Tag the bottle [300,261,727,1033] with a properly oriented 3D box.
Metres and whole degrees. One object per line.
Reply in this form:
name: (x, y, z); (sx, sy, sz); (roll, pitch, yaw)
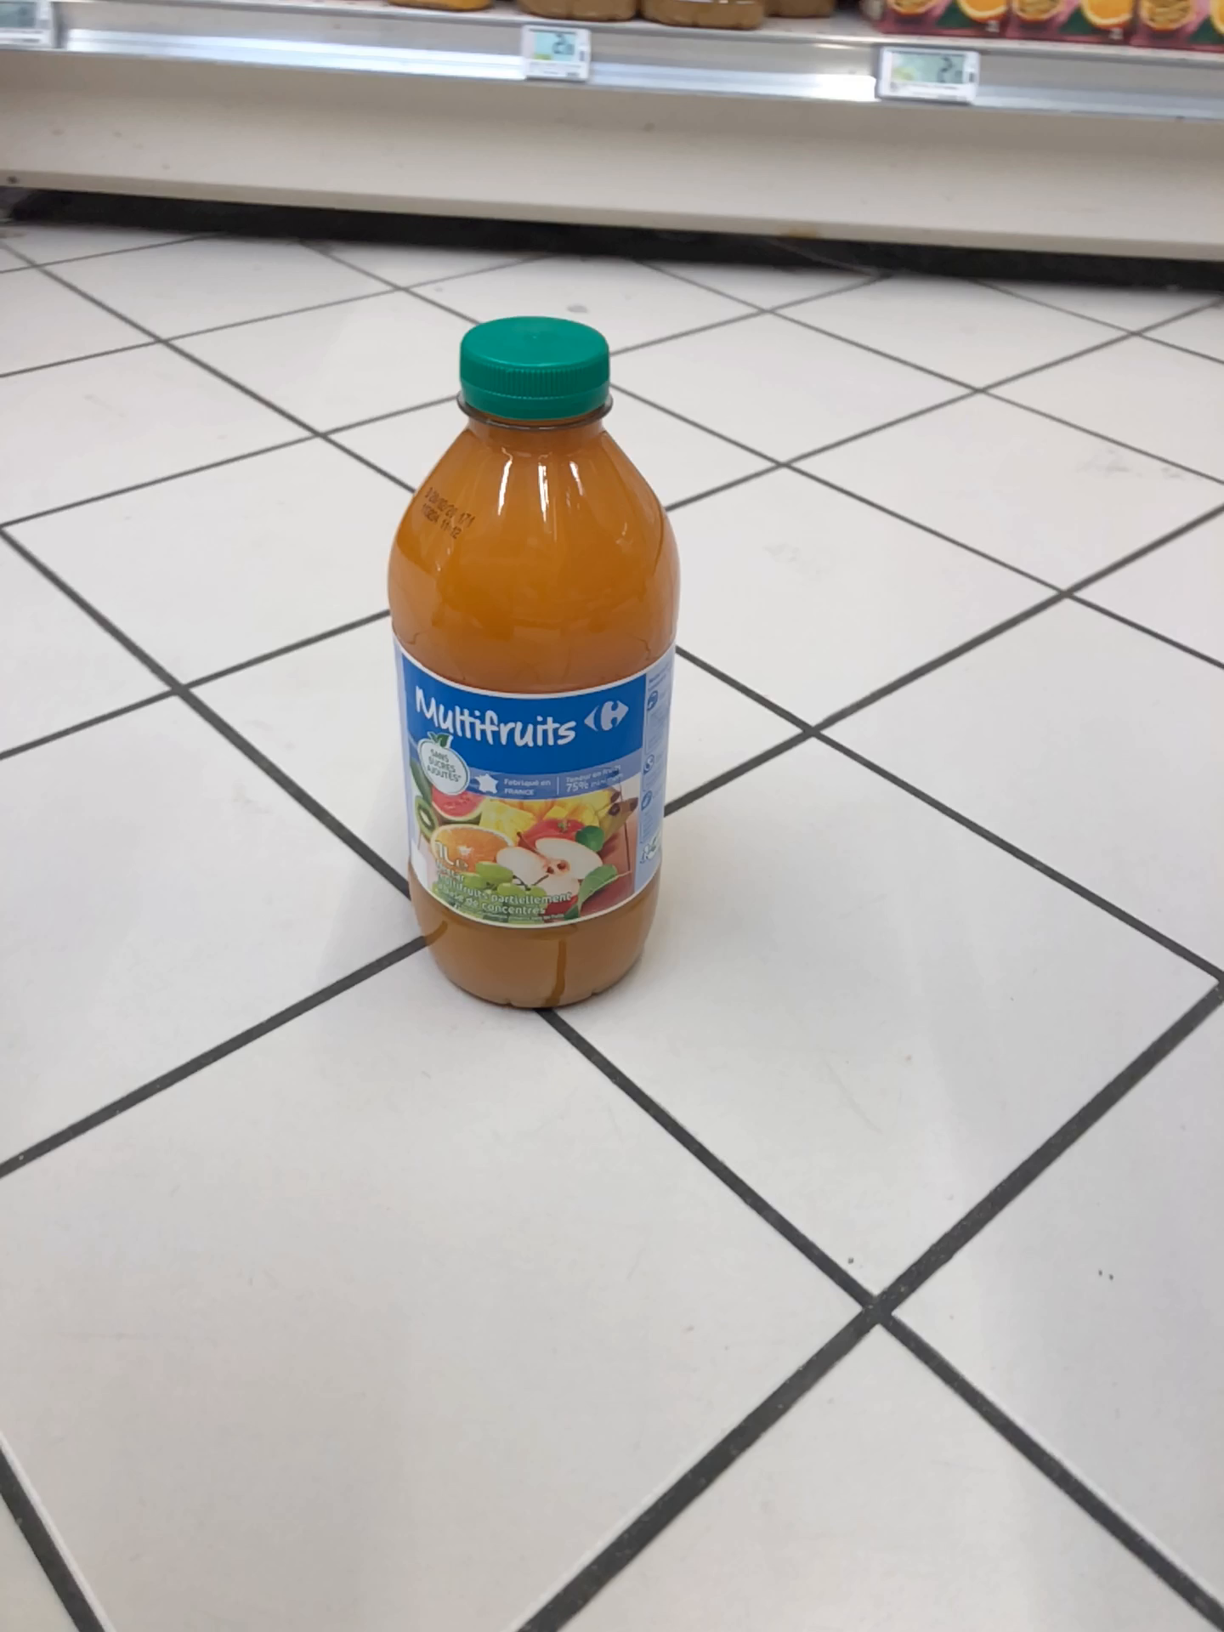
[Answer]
bottle: (-0.025, -0.046, 0.420); (0.100, 0.209, 0.101); (2, 37, -2)
